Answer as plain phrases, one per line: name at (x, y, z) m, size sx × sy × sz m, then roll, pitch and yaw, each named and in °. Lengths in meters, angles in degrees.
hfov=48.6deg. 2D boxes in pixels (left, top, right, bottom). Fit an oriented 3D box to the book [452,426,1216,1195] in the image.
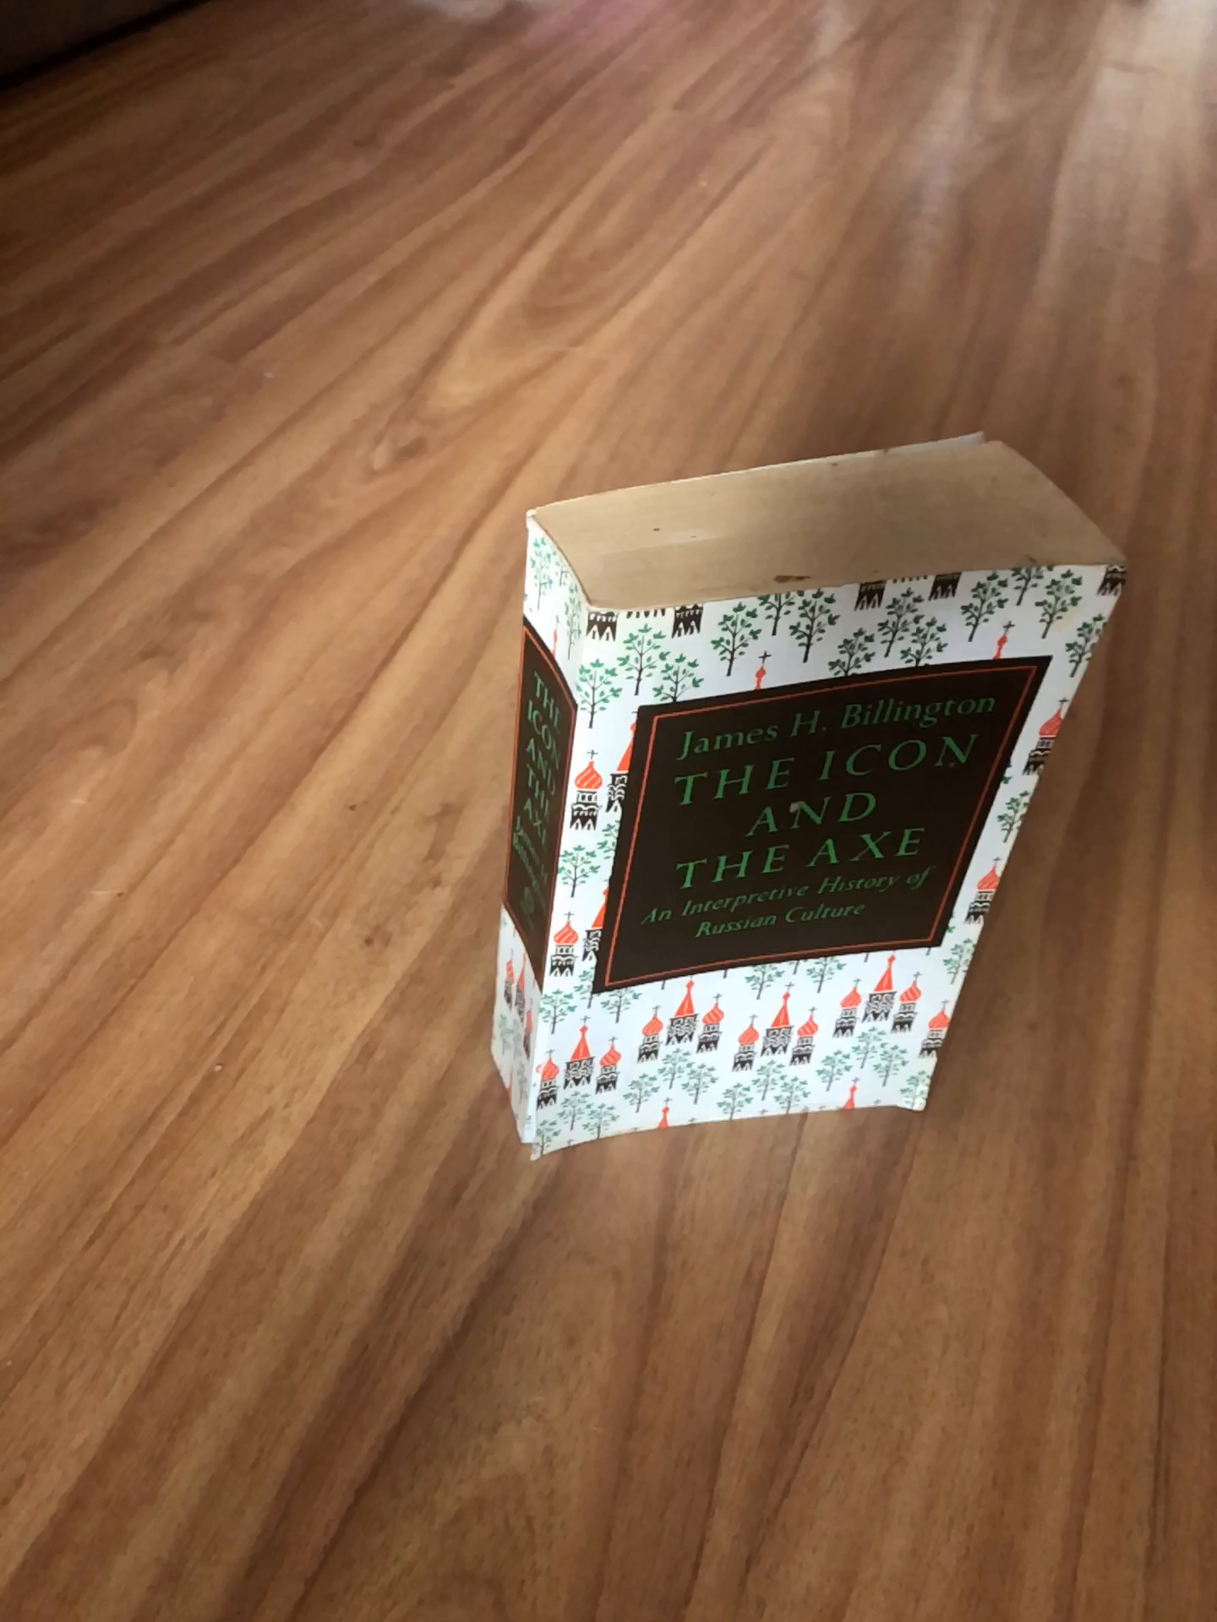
book at (0.040, 0.008, 0.352) m, size 0.150 × 0.199 × 0.060 m, roll -5°, pitch 43°, yaw -14°
